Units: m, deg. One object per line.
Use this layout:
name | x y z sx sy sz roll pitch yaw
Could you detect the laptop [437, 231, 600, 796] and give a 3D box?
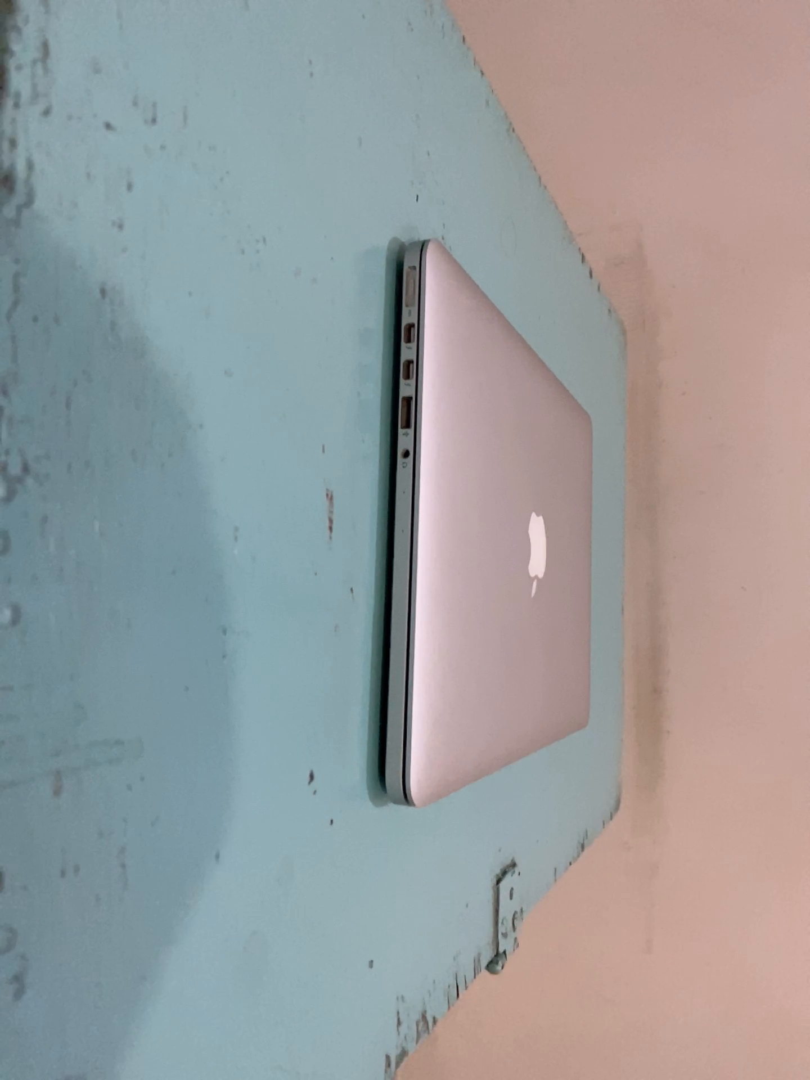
laptop | 0.072 -0.004 0.440 0.293 0.007 0.209 10 78 -67
